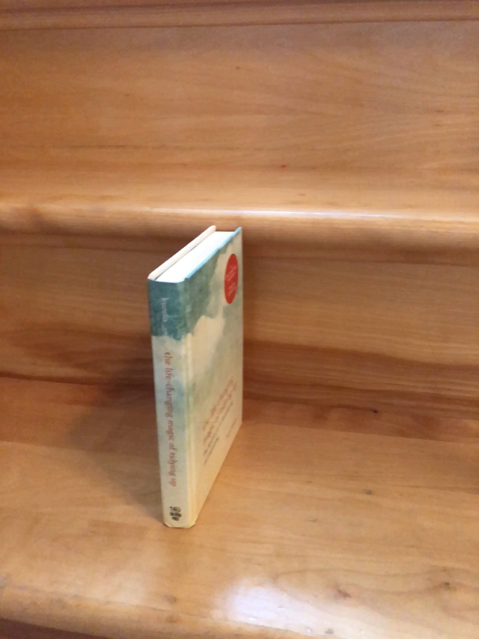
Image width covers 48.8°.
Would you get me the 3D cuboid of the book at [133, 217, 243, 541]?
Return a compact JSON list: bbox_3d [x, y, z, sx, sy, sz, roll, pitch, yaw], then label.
[{"bbox_3d":[-0.030,0.038,0.402,0.027,0.199,0.141,7,25,14],"label":"book"}]
